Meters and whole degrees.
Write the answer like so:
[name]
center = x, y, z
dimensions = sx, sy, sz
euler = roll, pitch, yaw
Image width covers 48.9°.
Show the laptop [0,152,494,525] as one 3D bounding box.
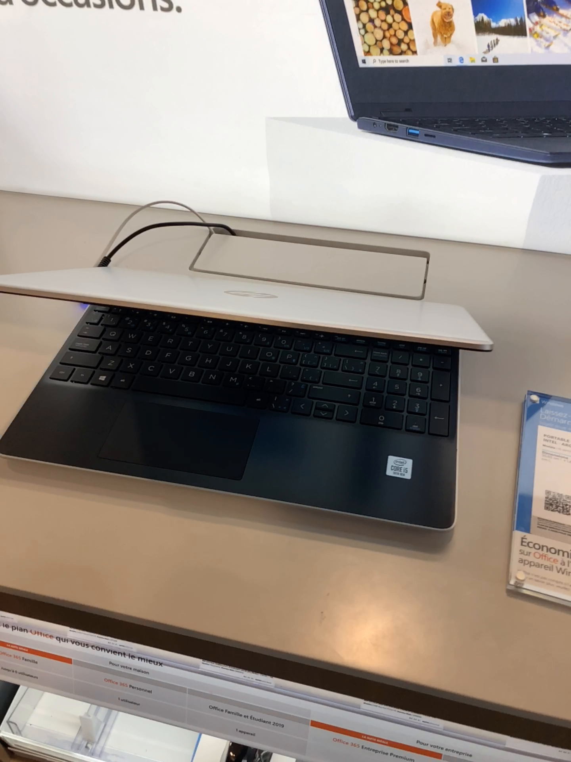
[laptop]
center = -0.031, -0.052, 0.494
dimensions = 0.346, 0.131, 0.230
euler = 8, 46, 10
